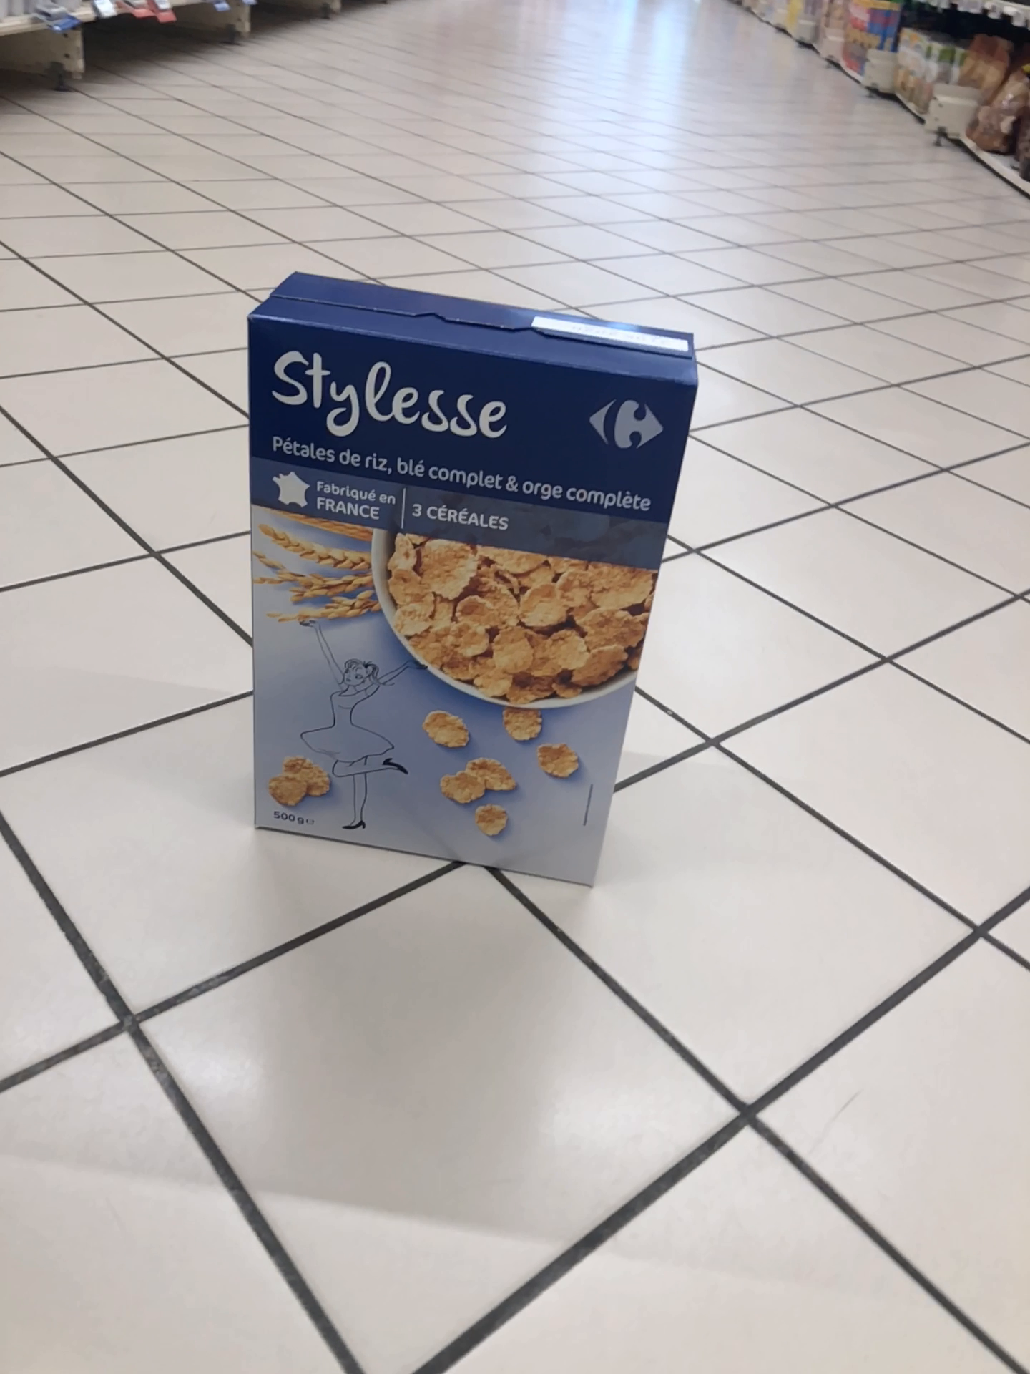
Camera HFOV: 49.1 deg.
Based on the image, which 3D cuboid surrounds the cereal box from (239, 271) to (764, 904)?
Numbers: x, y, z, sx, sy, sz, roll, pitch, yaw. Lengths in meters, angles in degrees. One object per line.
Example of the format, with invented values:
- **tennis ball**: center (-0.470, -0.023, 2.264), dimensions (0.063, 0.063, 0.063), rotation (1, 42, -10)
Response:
- **cereal box**: center (-0.018, -0.037, 0.557), dimensions (0.210, 0.278, 0.081), rotation (8, 34, 1)
